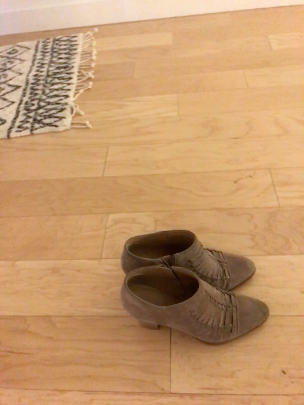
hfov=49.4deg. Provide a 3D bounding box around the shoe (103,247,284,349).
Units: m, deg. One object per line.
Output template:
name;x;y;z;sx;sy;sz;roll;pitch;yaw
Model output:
shoe;0.070;0.166;0.578;0.270;0.129;0.111;1;49;10

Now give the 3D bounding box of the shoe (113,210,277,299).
shoe;0.076;0.101;0.625;0.270;0.119;0.101;-5;49;5
